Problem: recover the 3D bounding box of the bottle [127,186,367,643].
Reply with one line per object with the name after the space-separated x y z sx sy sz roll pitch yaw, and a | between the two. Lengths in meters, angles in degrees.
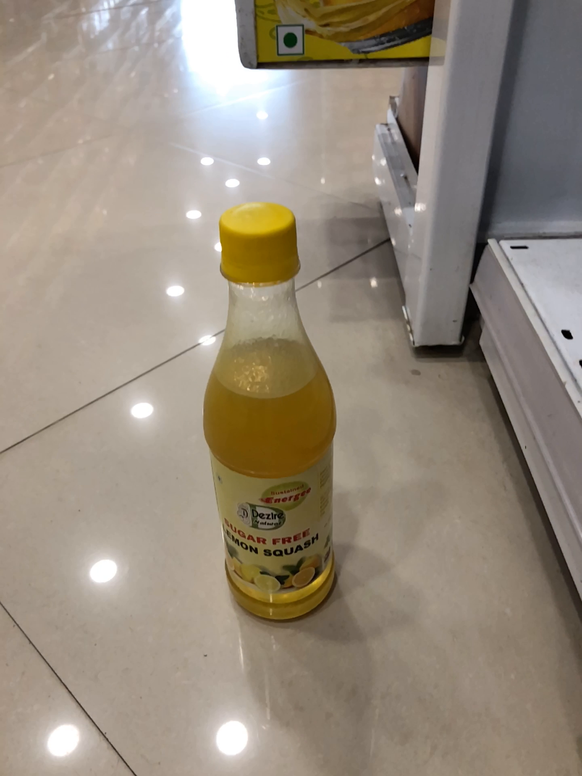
-0.010 0.026 0.321 0.080 0.229 0.070 5 38 8 | bottle
